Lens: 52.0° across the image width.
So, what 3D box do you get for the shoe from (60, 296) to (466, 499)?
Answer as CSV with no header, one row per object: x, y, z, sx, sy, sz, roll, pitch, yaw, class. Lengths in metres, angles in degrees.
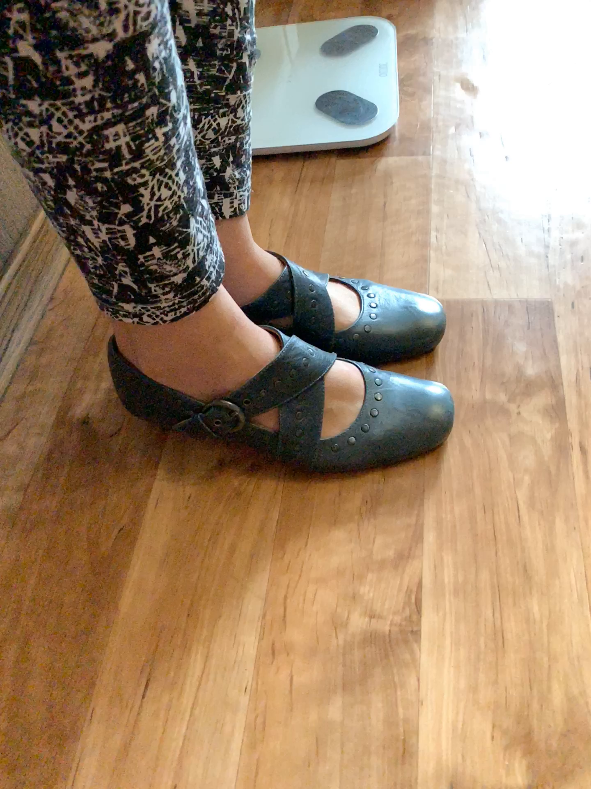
-0.014,0.002,0.414,0.240,0.100,0.090,1,55,11,shoe

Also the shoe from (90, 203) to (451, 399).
-0.013,-0.069,0.479,0.250,0.100,0.090,-3,54,8,shoe
